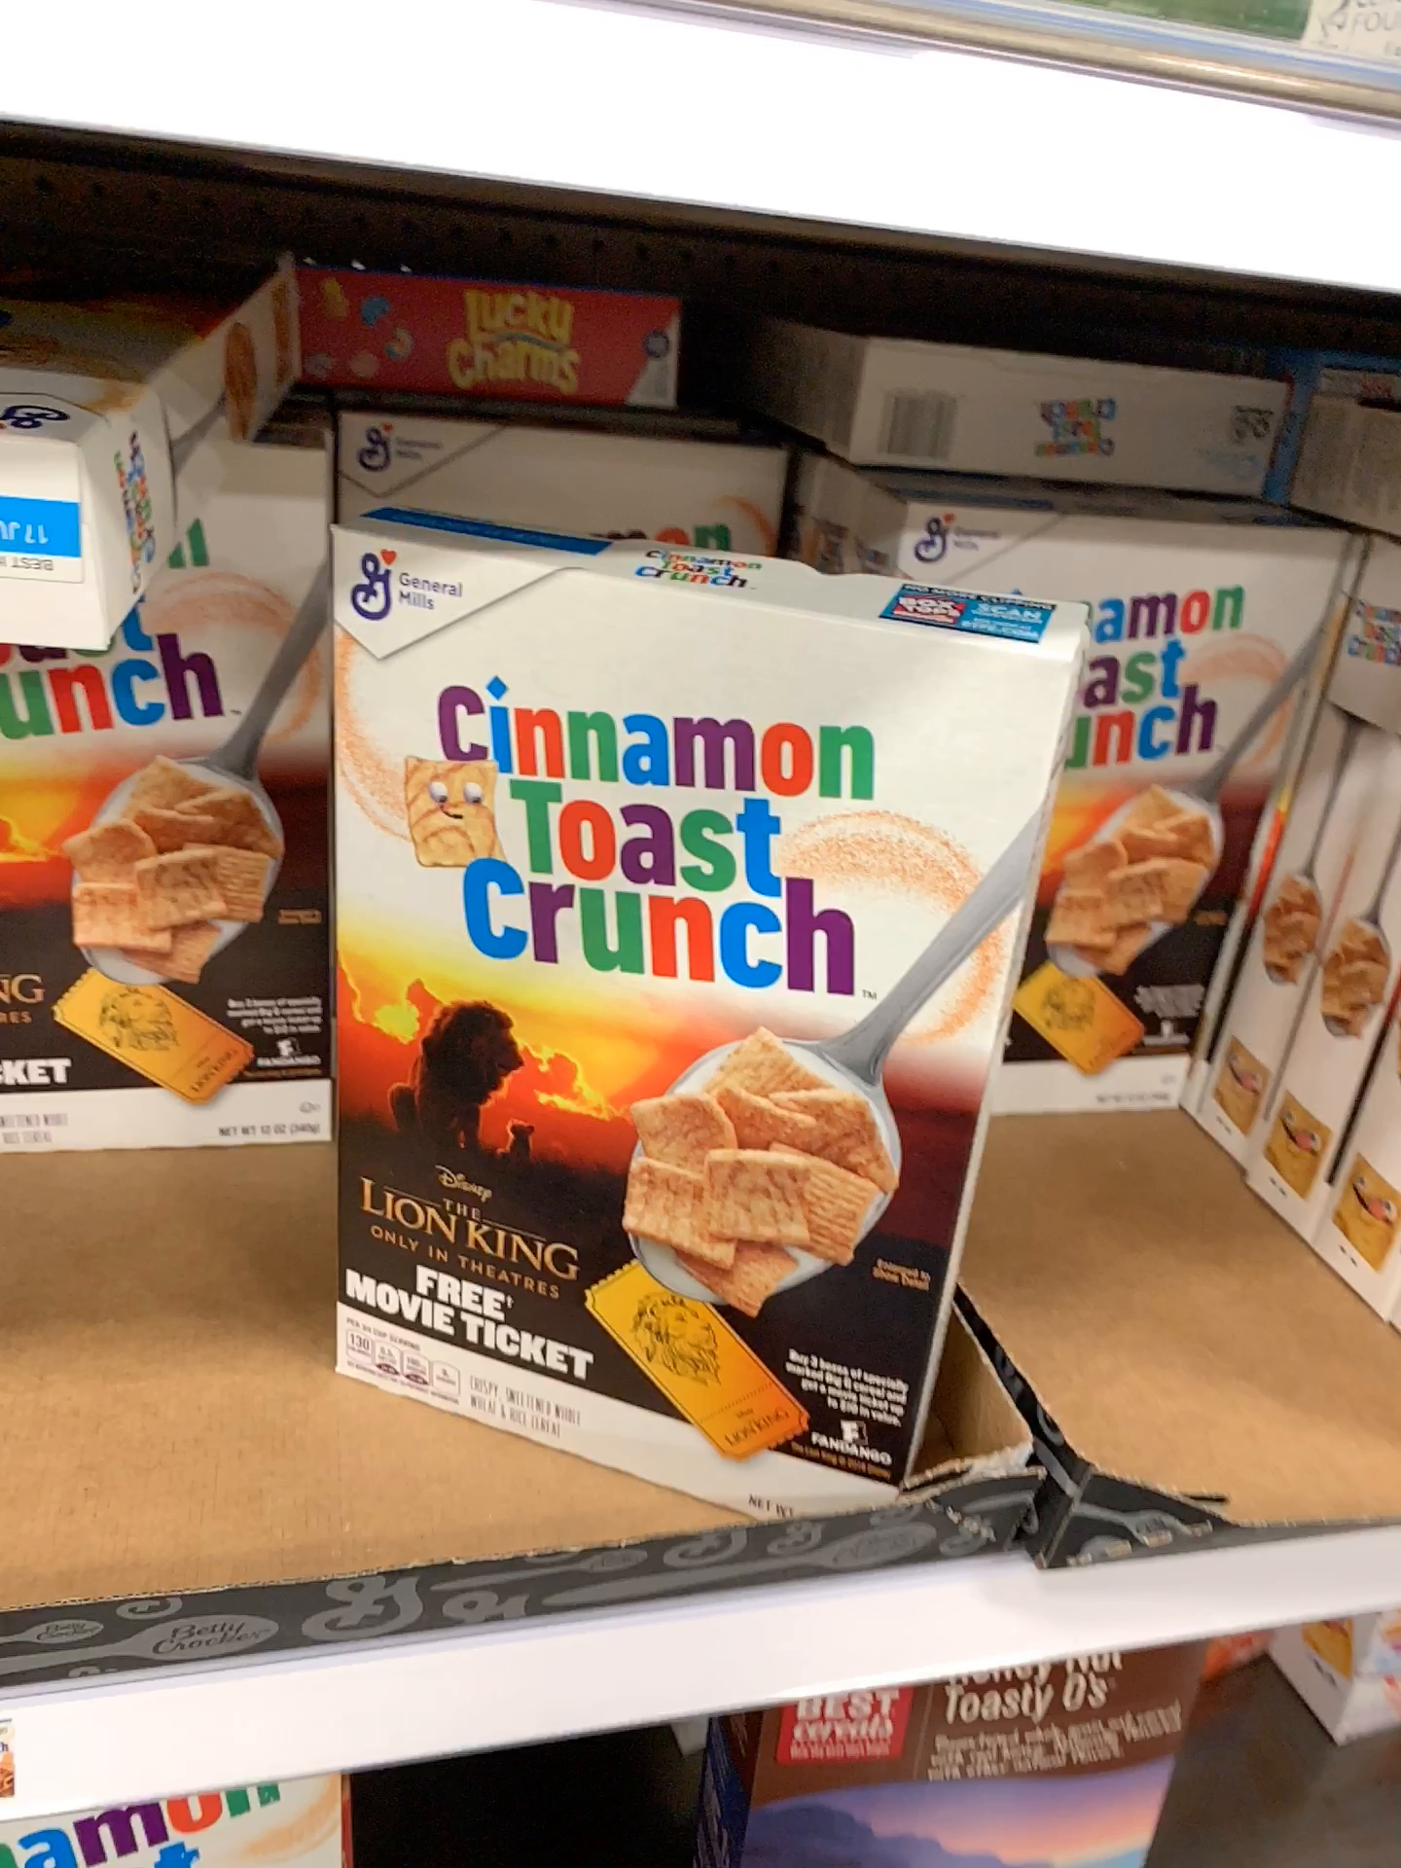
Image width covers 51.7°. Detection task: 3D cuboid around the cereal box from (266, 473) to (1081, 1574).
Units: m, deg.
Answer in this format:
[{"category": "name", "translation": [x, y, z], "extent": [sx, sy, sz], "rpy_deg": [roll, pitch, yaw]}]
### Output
[{"category": "cereal box", "translation": [-0.018, 0.029, 0.412], "extent": [0.190, 0.279, 0.060], "rpy_deg": [13, 27, 15]}]
